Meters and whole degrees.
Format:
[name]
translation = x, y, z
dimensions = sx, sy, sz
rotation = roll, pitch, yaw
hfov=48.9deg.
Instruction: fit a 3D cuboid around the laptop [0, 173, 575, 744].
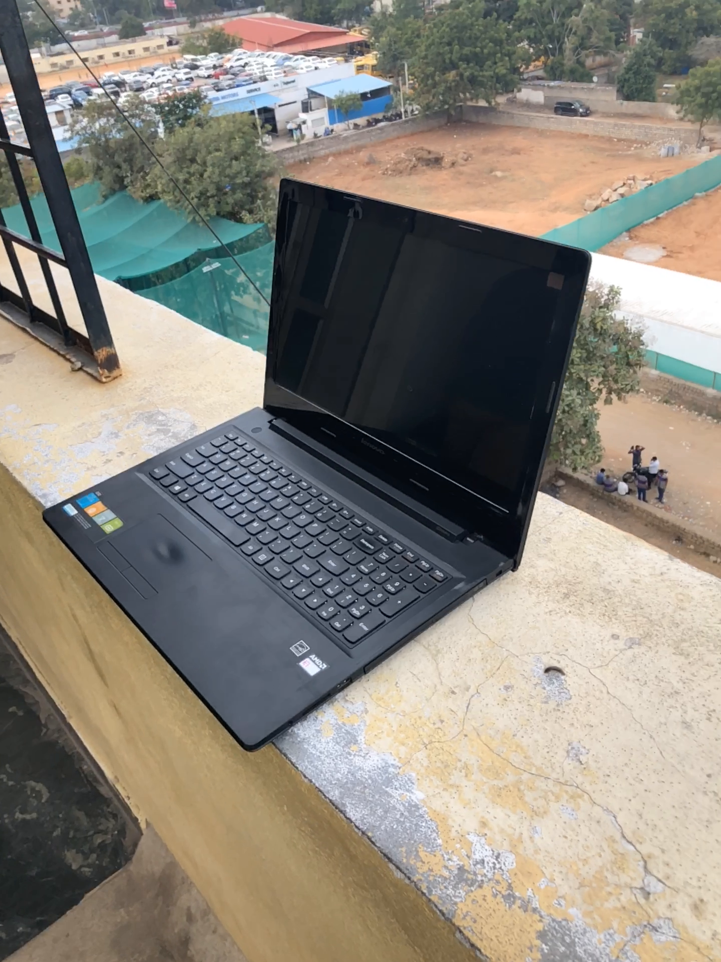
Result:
[laptop]
translation = -0.079, -0.067, 0.659
dimensions = 0.330, 0.229, 0.367
rotation = -30, 42, -29
